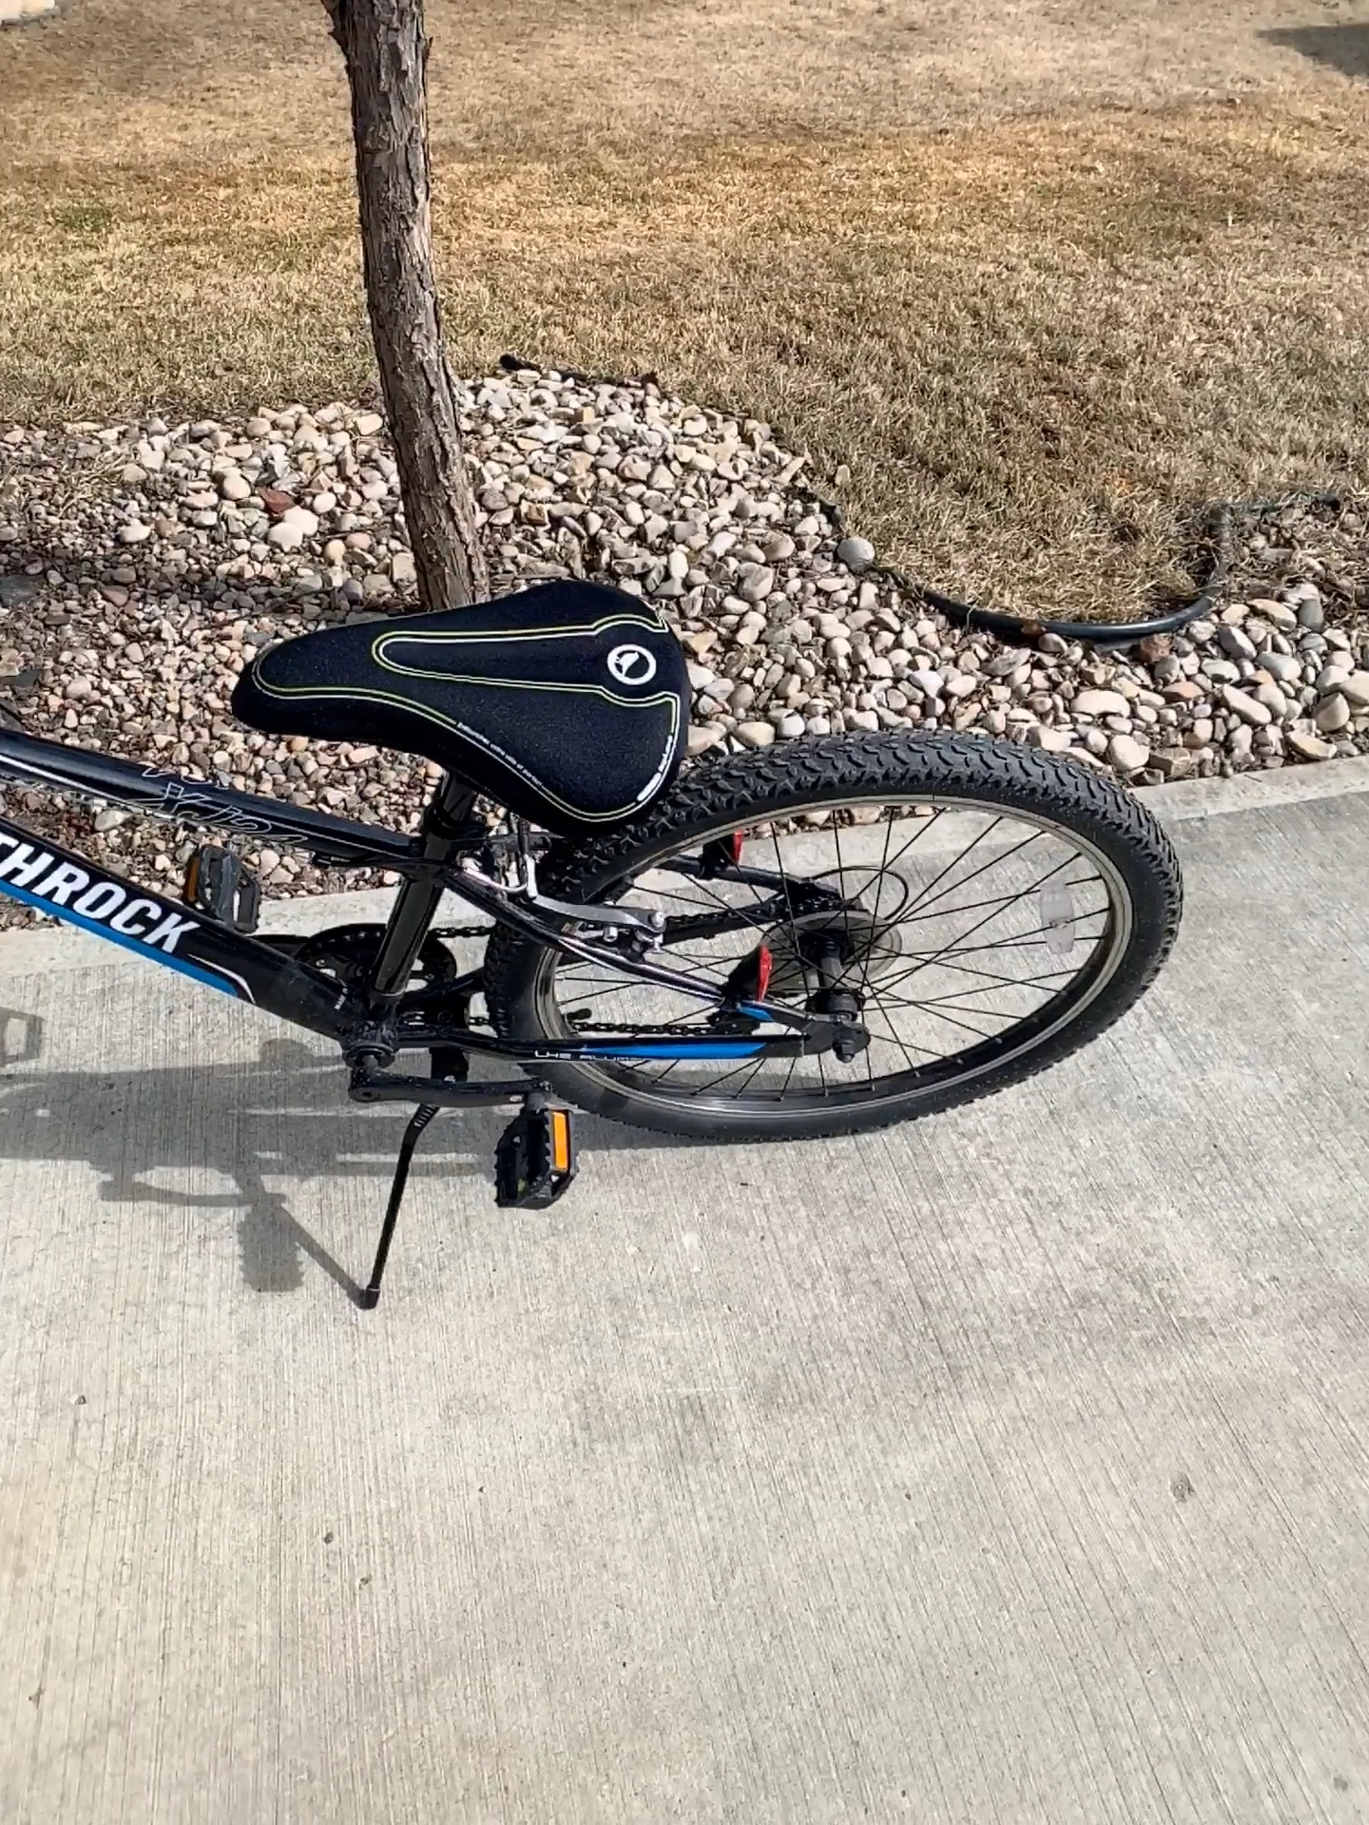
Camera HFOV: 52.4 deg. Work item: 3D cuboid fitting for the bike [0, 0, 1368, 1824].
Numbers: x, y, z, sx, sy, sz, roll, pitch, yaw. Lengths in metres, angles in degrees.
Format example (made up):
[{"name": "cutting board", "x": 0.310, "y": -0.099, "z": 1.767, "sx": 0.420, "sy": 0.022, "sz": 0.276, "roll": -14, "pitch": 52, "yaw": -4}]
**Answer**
[{"name": "bike", "x": -0.324, "y": 0.085, "z": 0.937, "sx": 1.389, "sy": 0.885, "sz": 0.517, "roll": -12, "pitch": 44, "yaw": -5}]
